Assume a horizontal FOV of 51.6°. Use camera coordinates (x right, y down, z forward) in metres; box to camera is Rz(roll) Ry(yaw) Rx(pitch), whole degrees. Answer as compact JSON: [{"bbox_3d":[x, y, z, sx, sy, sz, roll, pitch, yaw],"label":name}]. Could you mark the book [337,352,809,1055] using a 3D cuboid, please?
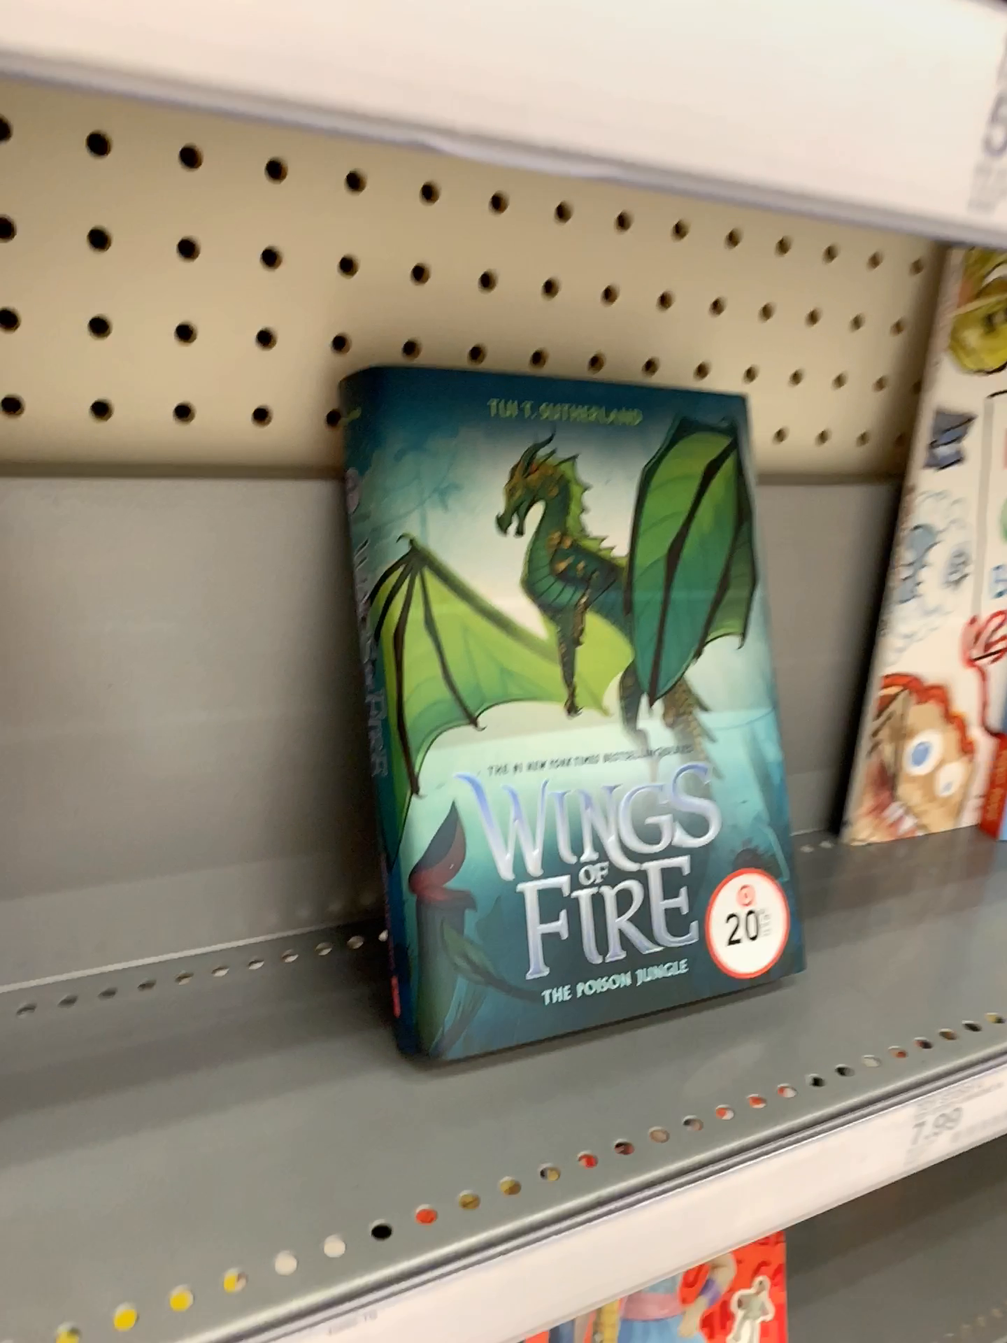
[{"bbox_3d":[0.027,0.005,0.367,0.150,0.215,0.036,-4,-3,-26],"label":"book"}]
